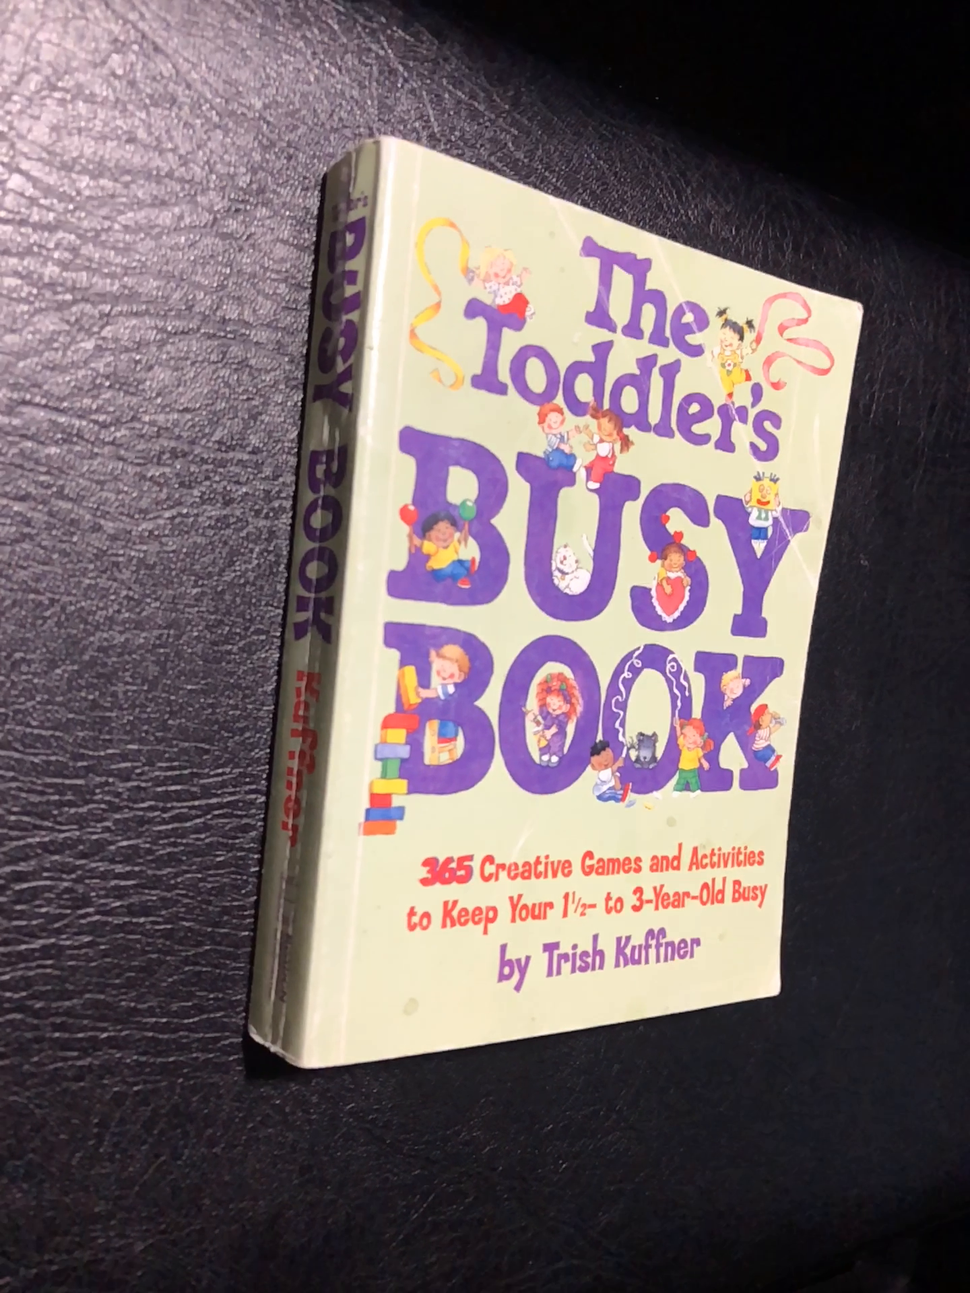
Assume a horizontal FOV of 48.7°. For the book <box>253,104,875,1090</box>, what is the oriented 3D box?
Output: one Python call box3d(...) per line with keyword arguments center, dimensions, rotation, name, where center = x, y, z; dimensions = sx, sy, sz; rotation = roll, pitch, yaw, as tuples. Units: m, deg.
box3d(center=(0.025, -0.005, 0.242), dimensions=(0.136, 0.033, 0.176), rotation=(5, 90, -35), name="book")
